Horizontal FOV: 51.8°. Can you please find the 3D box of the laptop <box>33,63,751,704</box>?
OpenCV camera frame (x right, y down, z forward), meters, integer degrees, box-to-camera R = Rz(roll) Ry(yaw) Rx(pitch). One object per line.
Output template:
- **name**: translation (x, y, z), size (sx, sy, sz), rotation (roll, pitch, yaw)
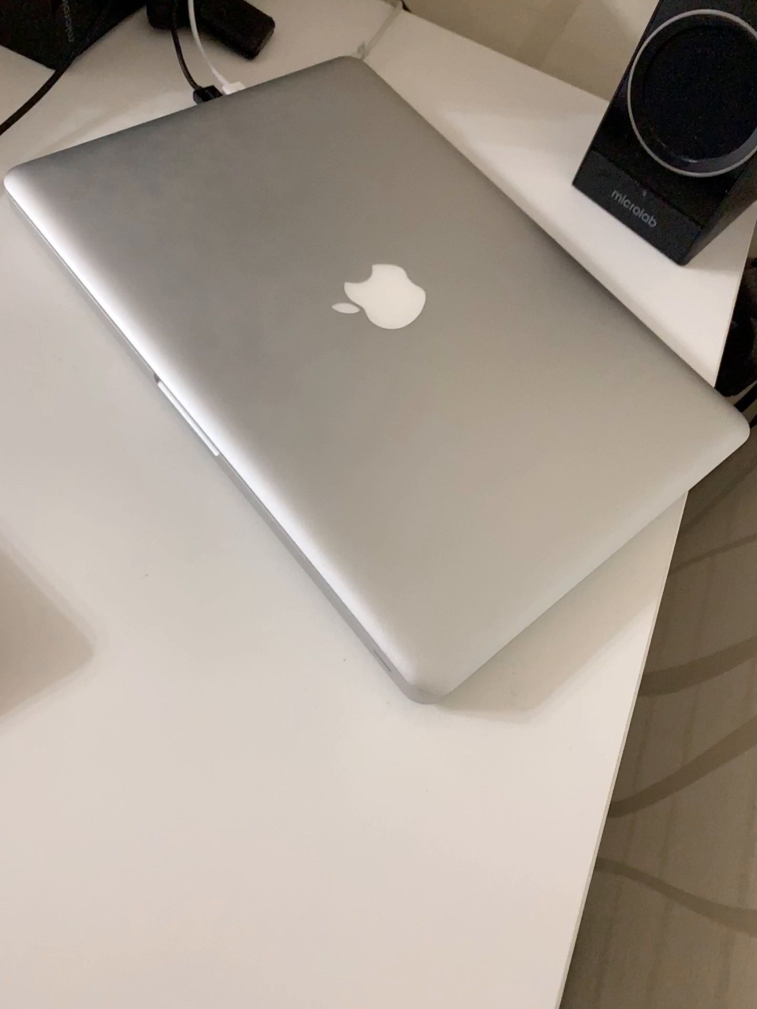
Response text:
- **laptop**: translation (0.005, -0.092, 0.380), size (0.207, 0.011, 0.305), rotation (-33, 72, -23)
